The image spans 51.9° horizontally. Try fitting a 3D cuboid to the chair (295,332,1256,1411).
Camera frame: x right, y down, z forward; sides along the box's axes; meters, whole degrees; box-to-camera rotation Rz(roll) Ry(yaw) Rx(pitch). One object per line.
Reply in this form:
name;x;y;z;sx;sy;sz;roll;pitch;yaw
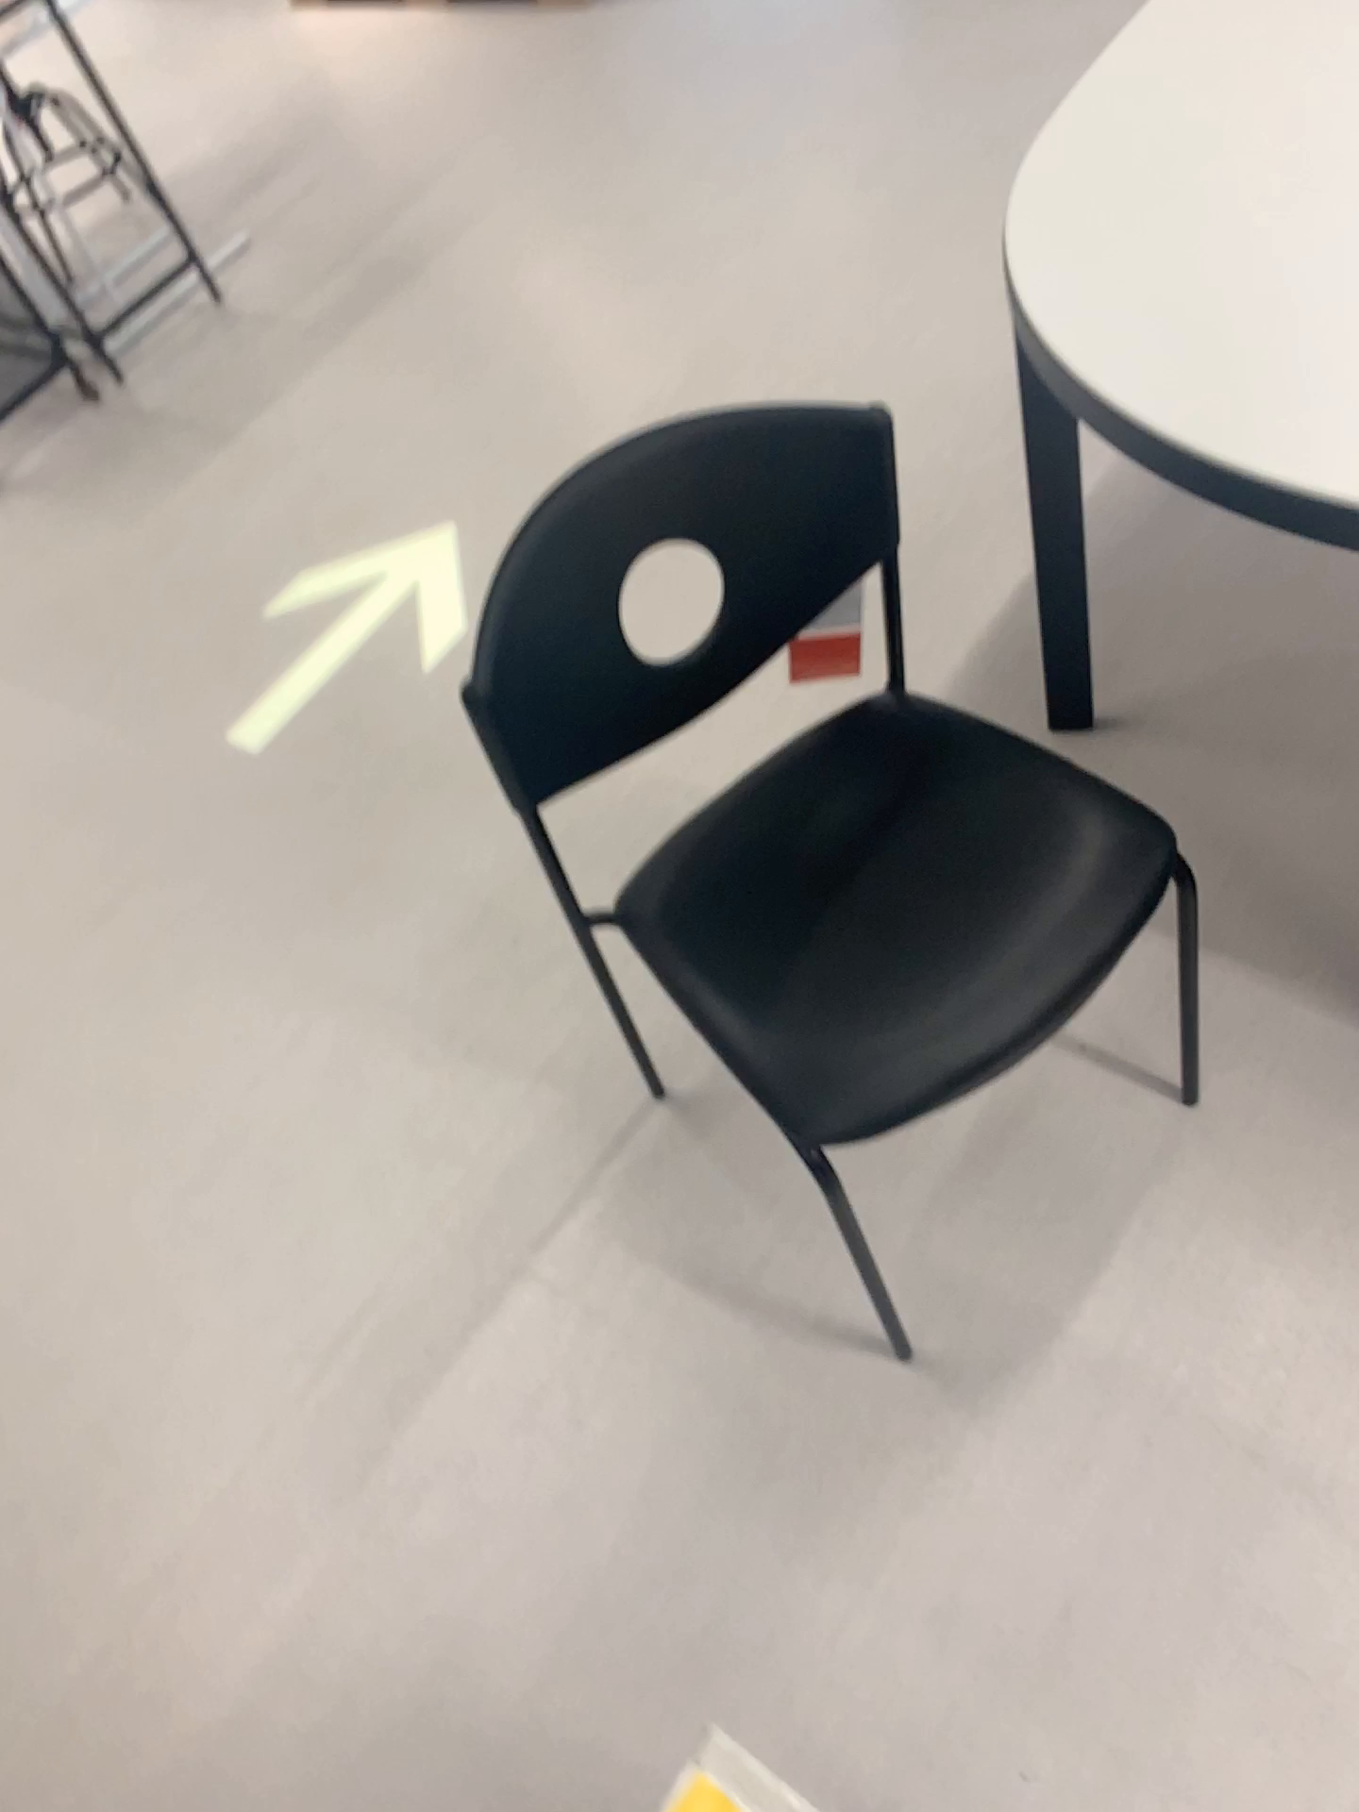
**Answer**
chair;0.129;-0.017;1.370;0.510;0.737;0.582;-39;51;-13
